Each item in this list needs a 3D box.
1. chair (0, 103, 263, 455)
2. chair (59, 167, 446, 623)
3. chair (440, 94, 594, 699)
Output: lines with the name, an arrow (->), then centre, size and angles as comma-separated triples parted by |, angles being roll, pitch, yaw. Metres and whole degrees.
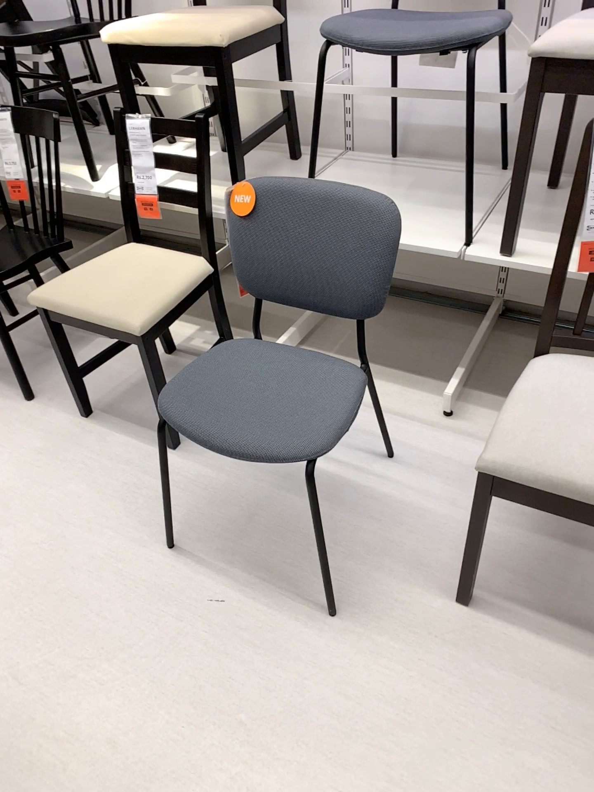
chair -> -0.486, -0.353, 1.799 | 0.481, 0.806, 0.531 | 16, 45, 24
chair -> -0.027, -0.023, 1.400 | 0.521, 0.757, 0.592 | 15, 44, 23
chair -> 0.621, 0.014, 1.143 | 0.481, 0.926, 0.531 | 15, 44, 23
